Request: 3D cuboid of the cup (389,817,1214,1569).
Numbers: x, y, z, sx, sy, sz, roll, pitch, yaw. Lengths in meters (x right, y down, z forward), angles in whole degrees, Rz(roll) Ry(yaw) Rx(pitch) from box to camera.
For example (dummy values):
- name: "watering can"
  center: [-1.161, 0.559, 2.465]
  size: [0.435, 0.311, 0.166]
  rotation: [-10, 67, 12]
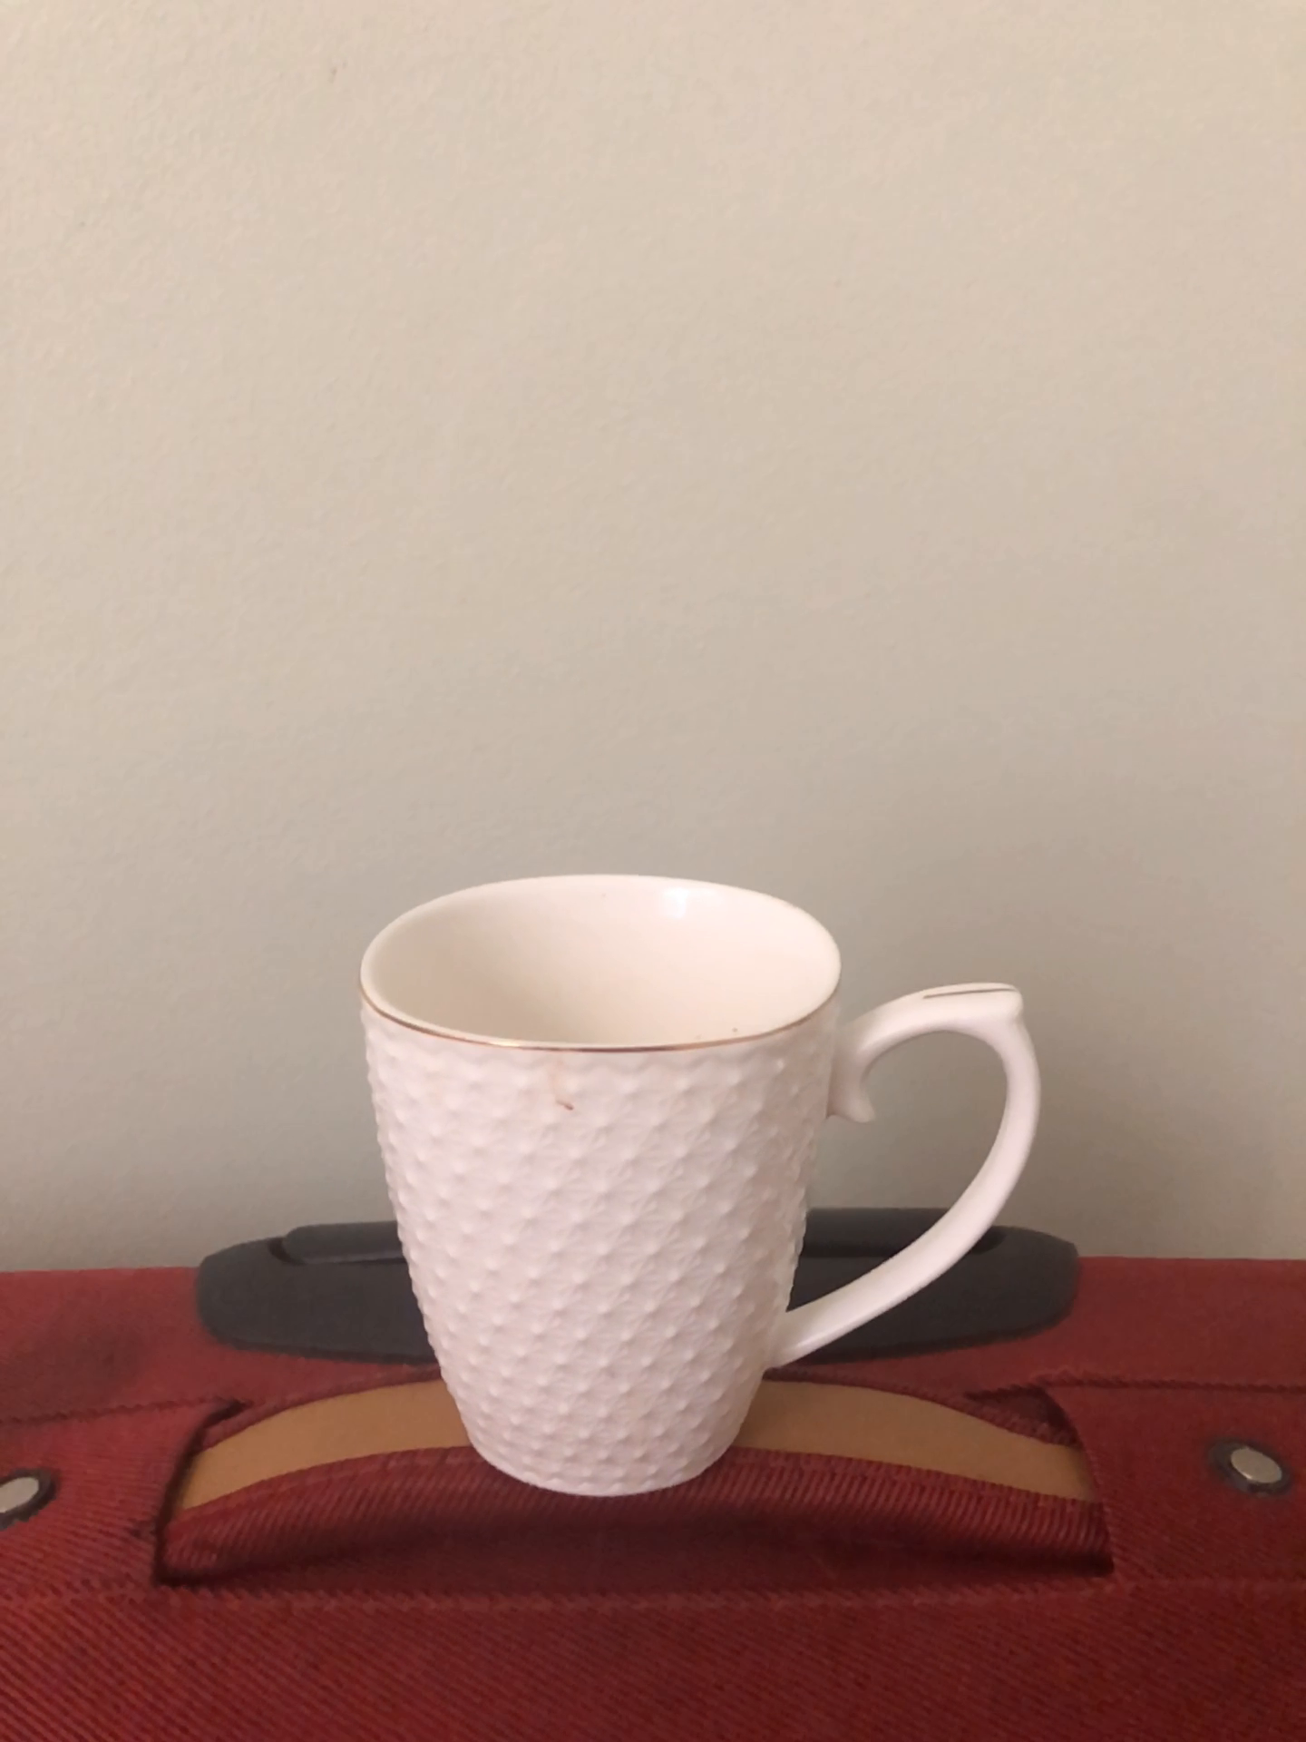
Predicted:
- name: "cup"
  center: [0.017, 0.046, 0.241]
  size: [0.111, 0.084, 0.075]
  rotation: [-4, 20, -7]
